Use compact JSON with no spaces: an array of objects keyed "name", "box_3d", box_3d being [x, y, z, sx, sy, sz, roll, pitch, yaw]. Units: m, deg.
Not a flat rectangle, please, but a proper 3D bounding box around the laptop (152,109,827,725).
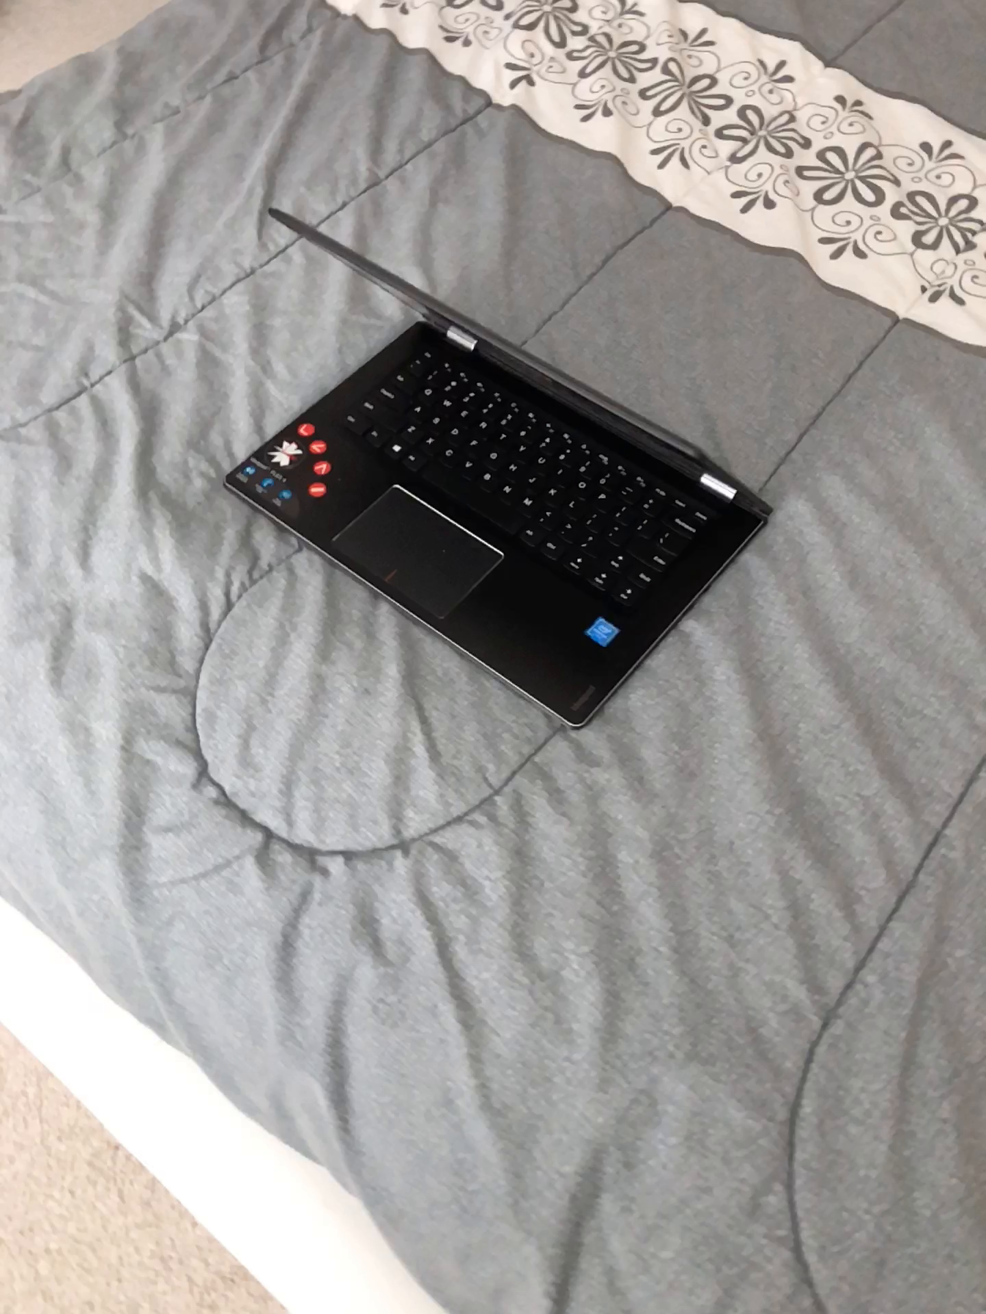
[{"name":"laptop","box_3d":[-0.002,-0.155,0.669,0.305,0.168,0.214,35,64,20]}]
